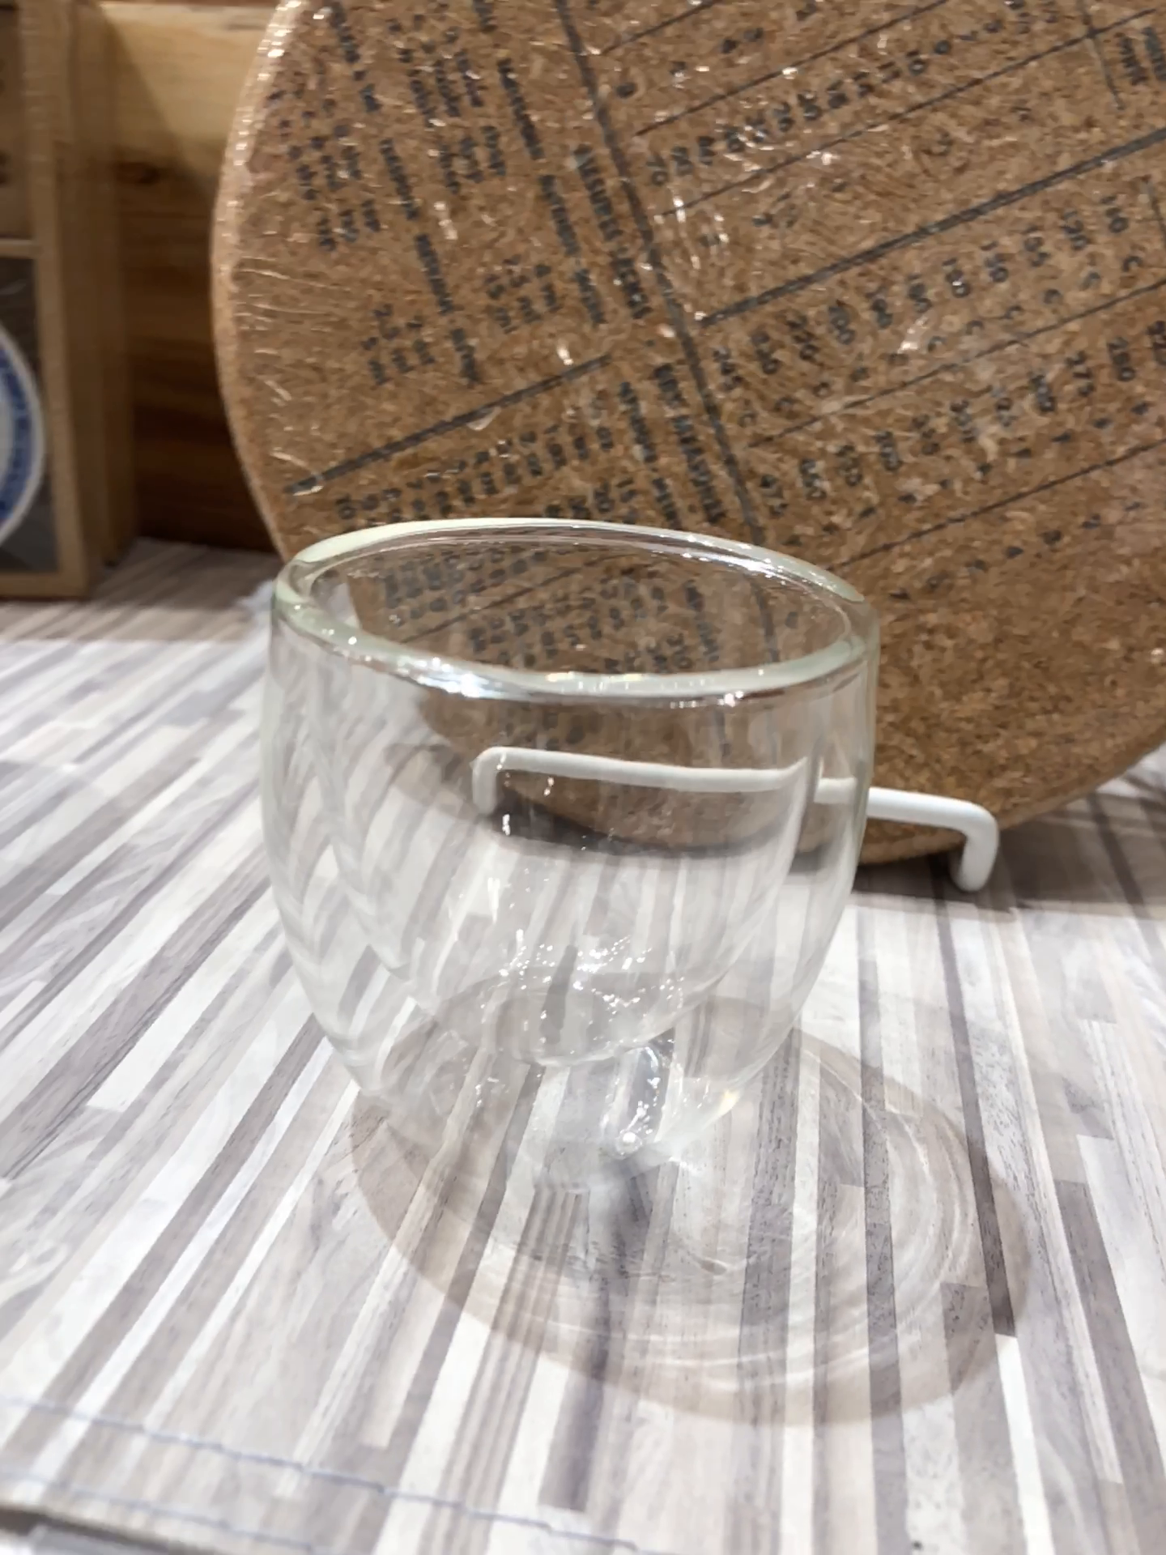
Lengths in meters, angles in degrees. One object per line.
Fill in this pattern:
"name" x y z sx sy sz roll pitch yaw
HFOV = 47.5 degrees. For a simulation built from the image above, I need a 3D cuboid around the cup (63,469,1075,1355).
"cup" -0.001 0.002 0.139 0.070 0.050 0.070 3 23 -1
